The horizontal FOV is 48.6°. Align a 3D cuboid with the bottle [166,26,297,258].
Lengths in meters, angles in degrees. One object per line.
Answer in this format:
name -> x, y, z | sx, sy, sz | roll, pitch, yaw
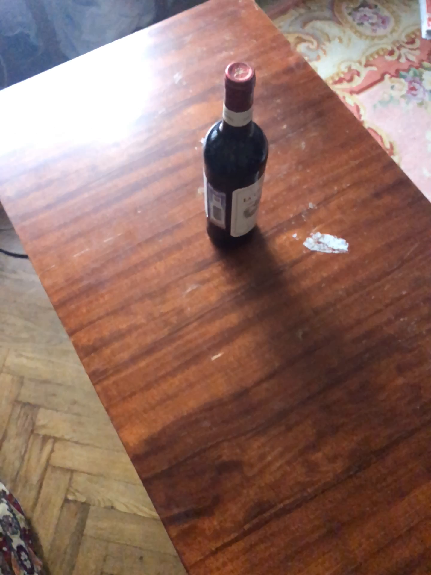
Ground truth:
bottle -> 0.019, -0.142, 0.551 | 0.090, 0.269, 0.090 | -1, 70, 1
